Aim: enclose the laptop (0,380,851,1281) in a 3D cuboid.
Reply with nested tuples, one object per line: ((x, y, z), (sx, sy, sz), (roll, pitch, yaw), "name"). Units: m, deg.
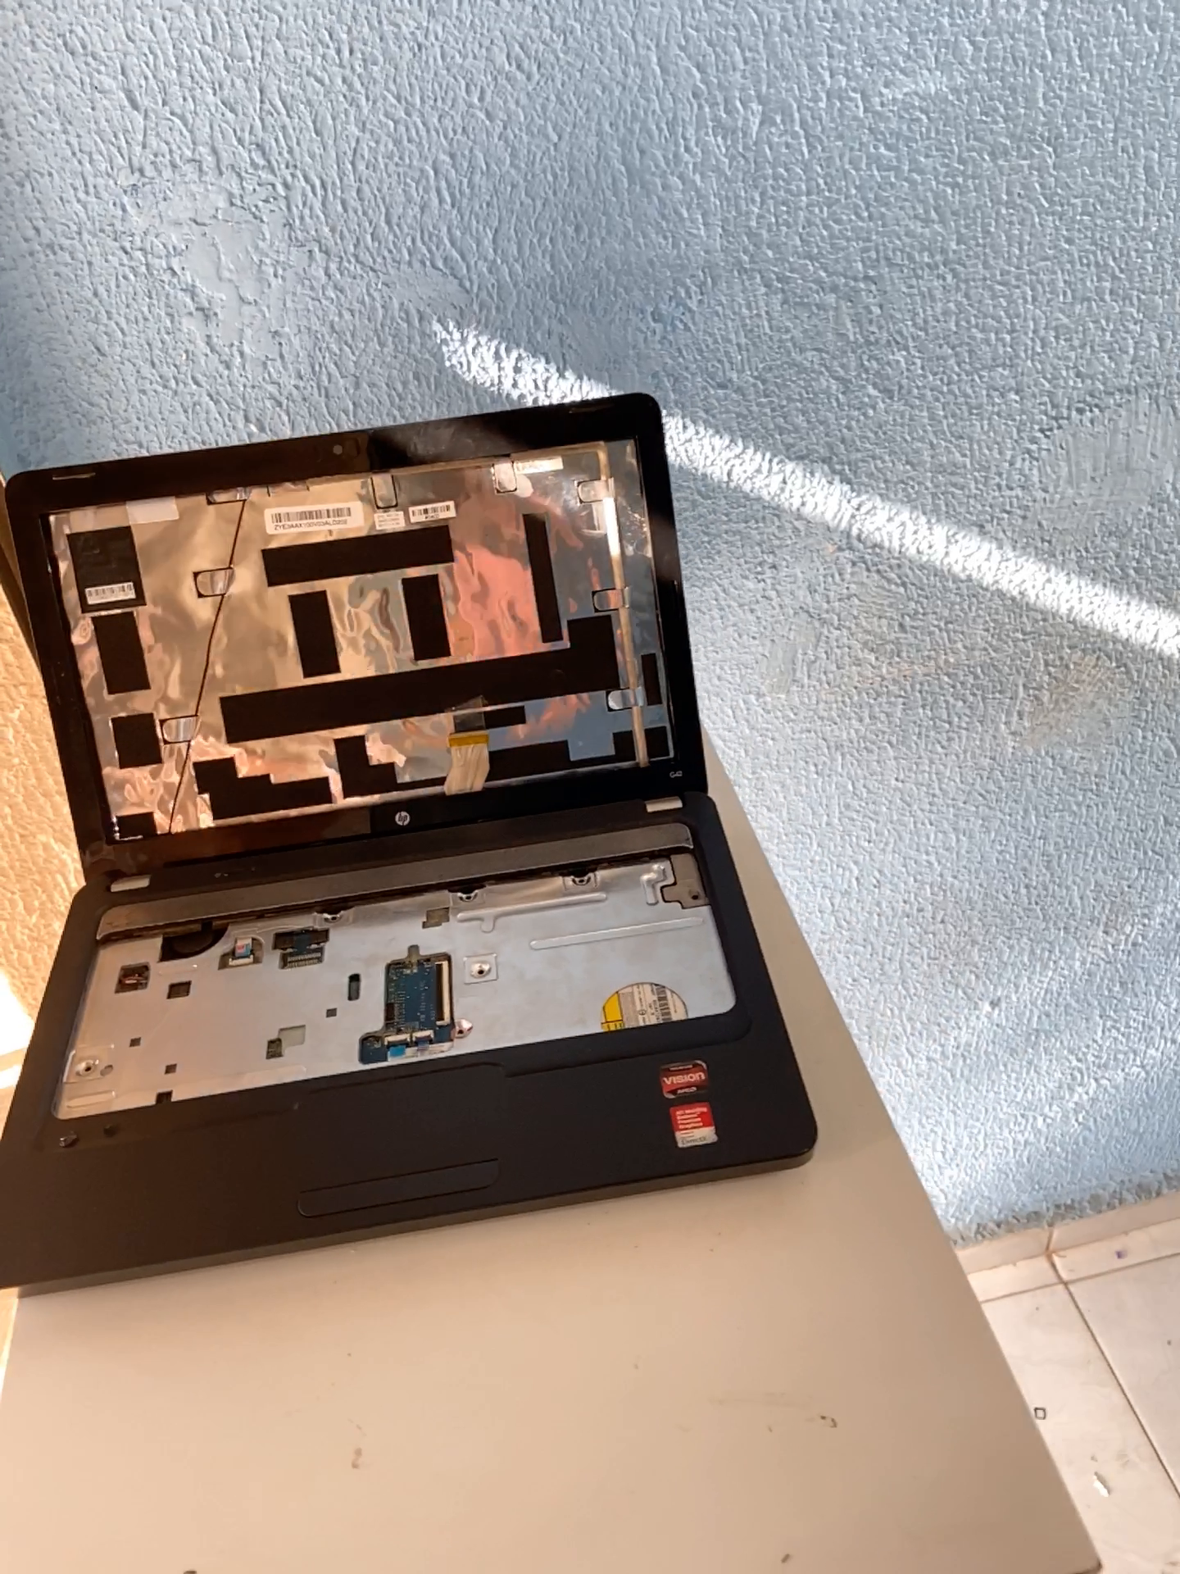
((-0.101, -0.012, 0.559), (0.338, 0.179, 0.351), (-8, 40, -3), "laptop")
